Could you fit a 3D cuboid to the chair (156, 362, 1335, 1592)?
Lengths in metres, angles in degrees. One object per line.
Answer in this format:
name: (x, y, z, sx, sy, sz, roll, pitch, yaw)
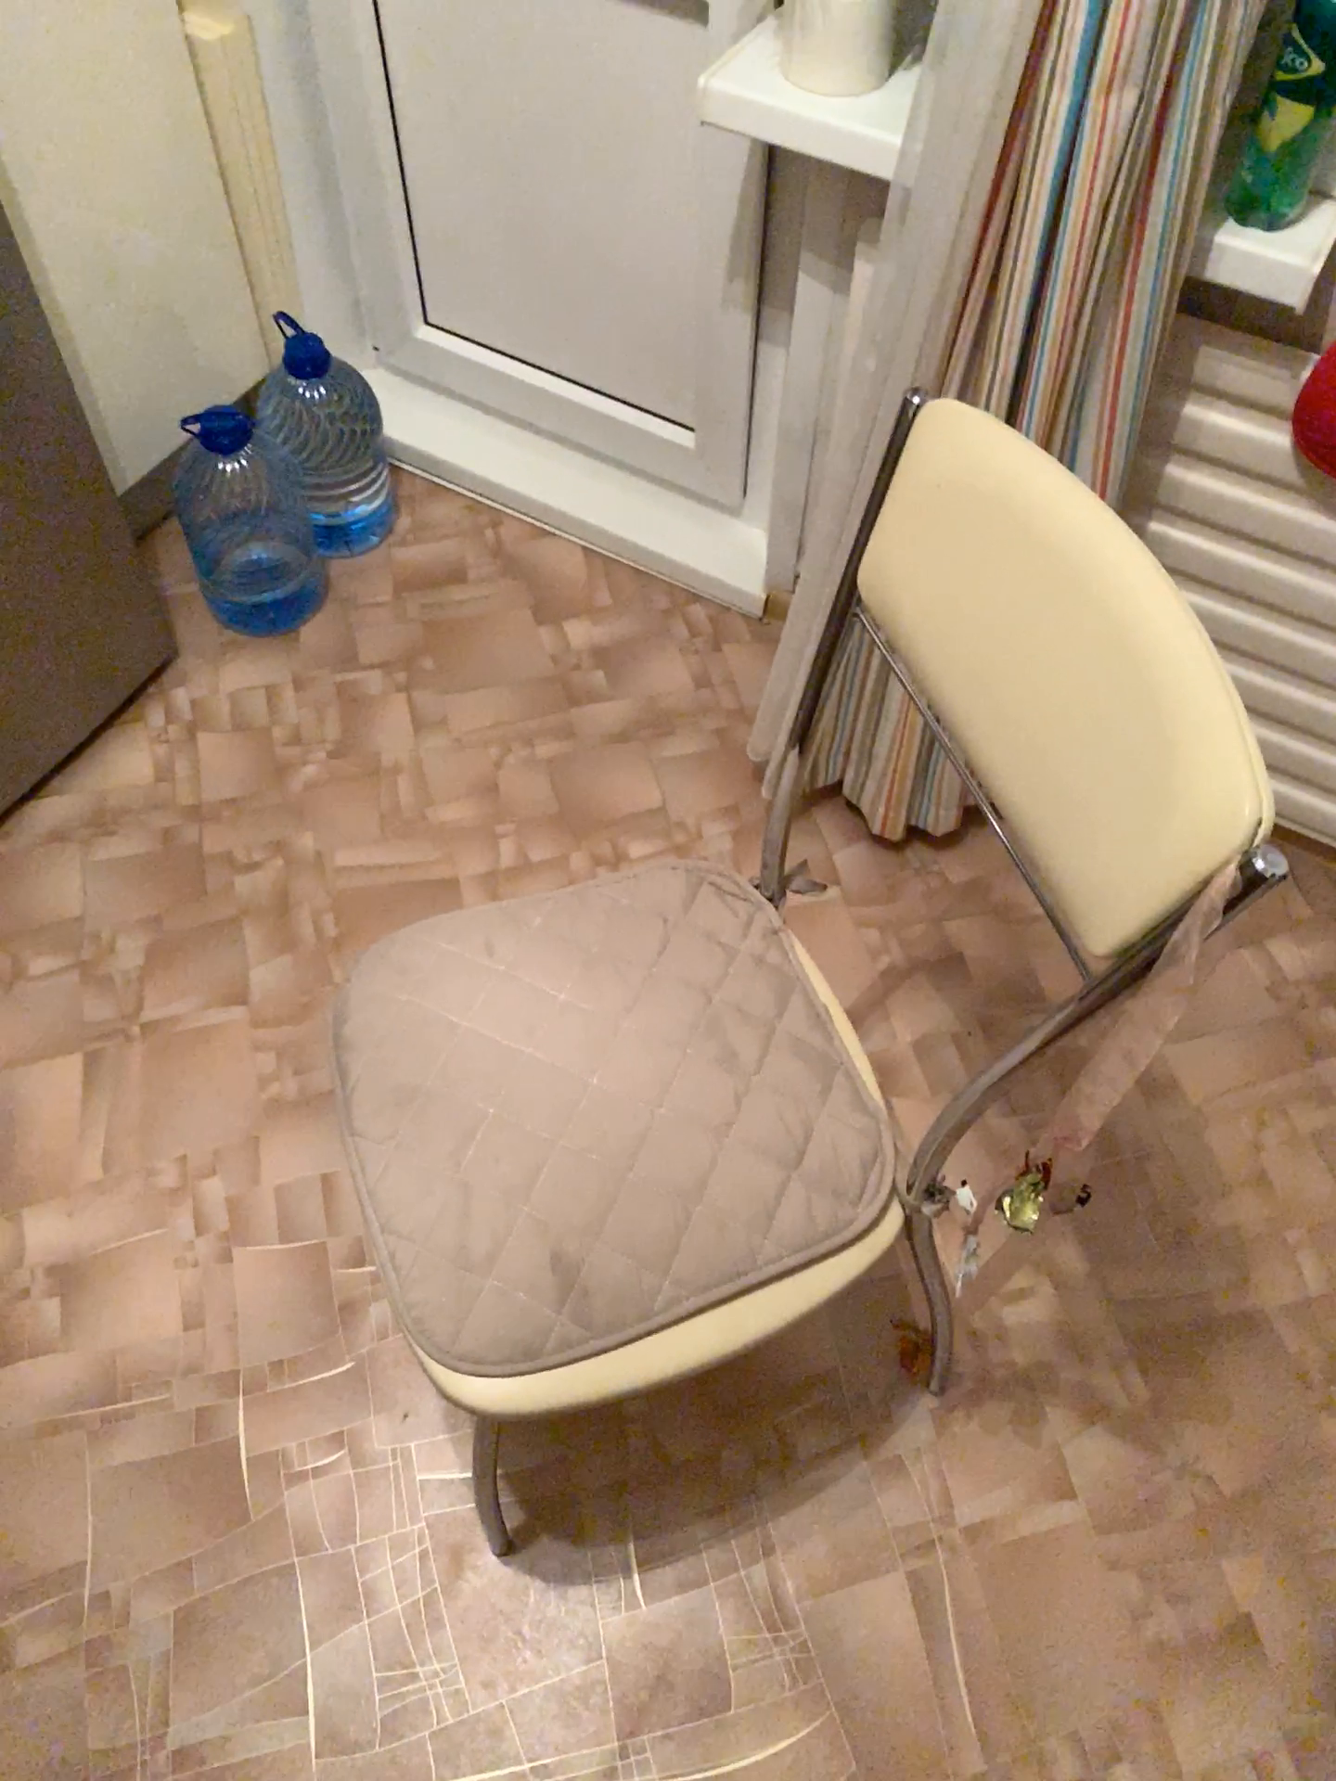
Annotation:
chair: (0.027, 0.151, 0.984, 0.490, 0.854, 0.386, -16, 57, -12)
